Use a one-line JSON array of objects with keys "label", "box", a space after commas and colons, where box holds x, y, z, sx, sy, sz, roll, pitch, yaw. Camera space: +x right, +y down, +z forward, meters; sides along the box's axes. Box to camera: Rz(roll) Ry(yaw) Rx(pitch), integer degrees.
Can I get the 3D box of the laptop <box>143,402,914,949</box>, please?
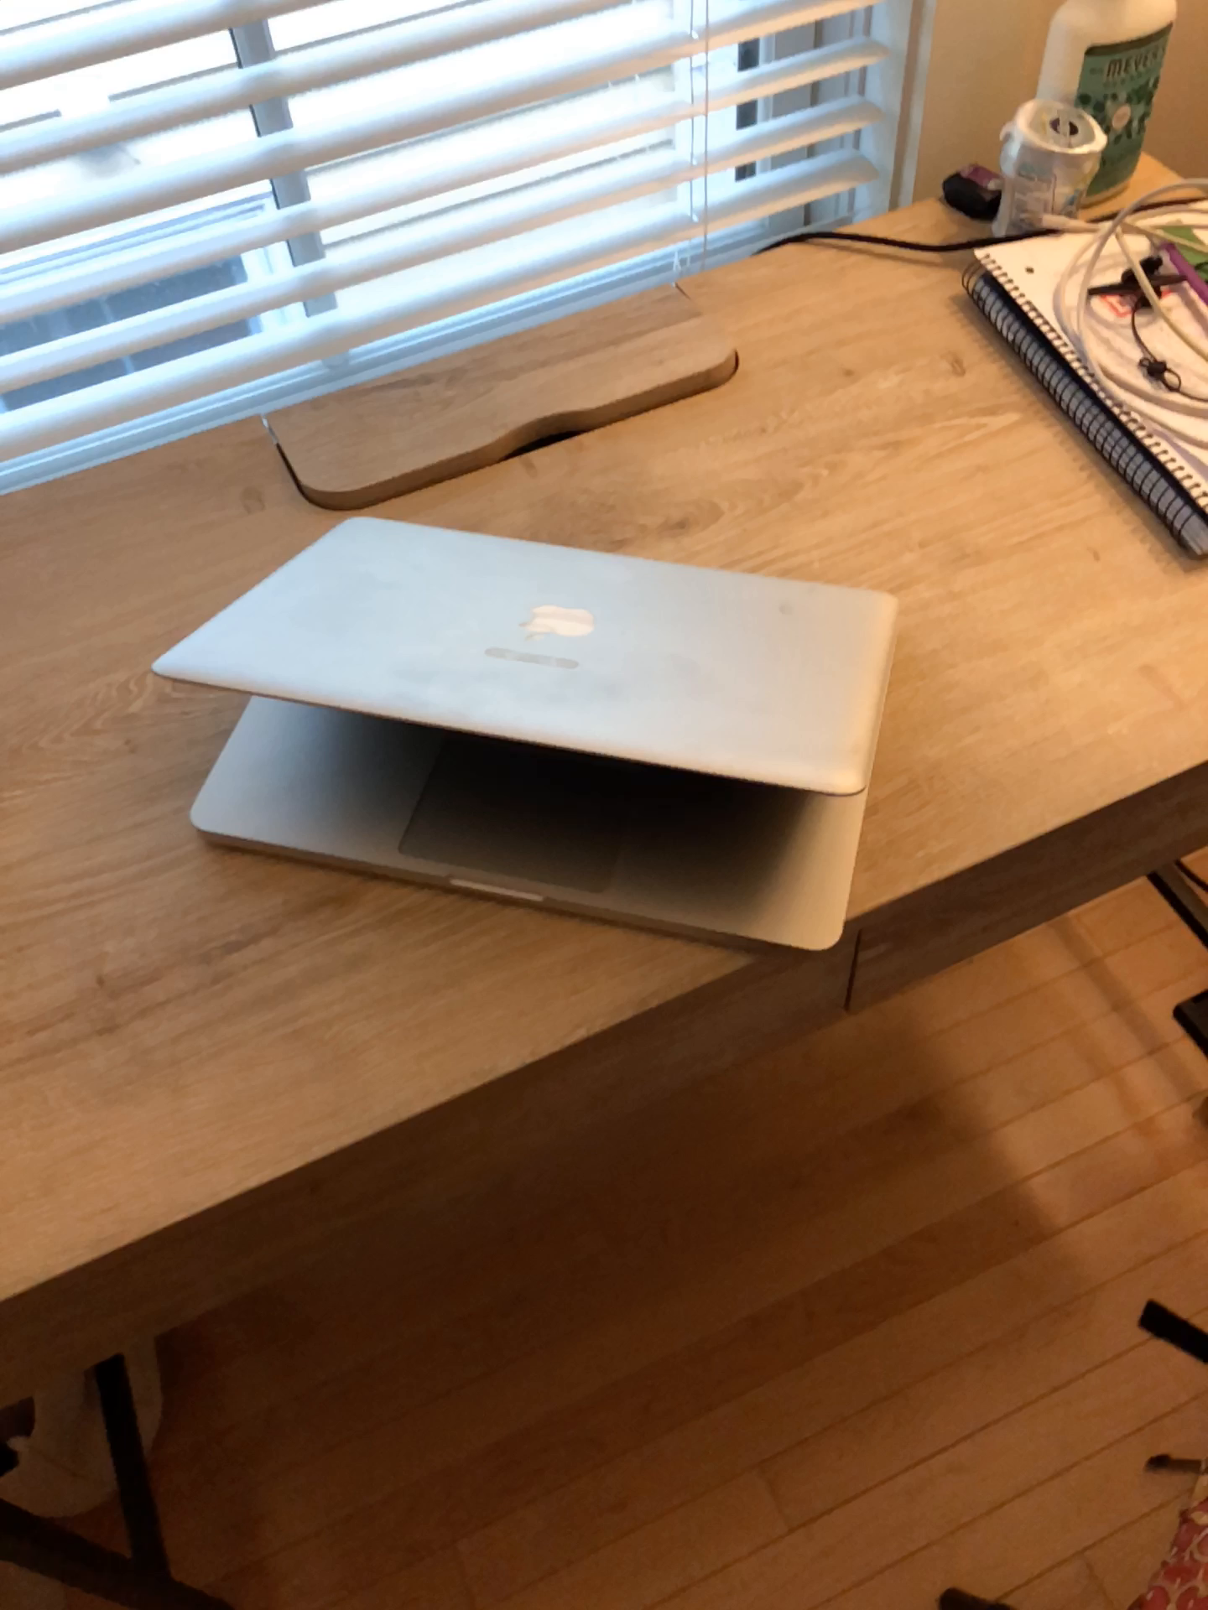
[{"label": "laptop", "box": [-0.023, -0.072, 0.629, 0.300, 0.082, 0.210, 10, 56, 12]}]
